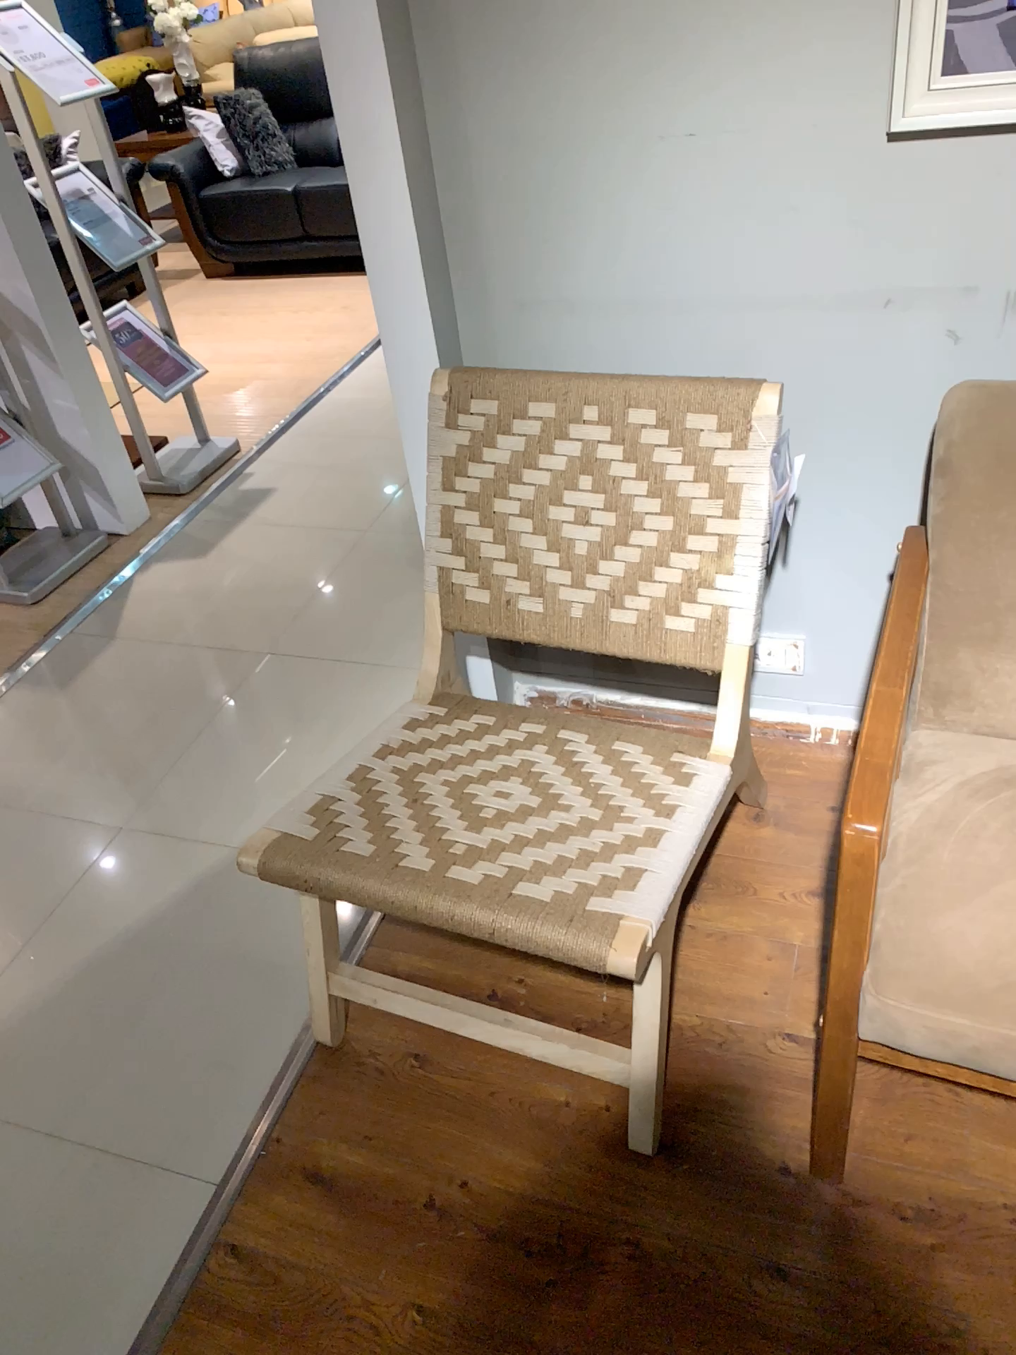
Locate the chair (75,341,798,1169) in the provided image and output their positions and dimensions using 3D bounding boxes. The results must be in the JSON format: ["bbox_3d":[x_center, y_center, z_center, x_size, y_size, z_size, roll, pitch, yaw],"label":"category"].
[{"bbox_3d":[0.009,0.066,1.459,0.631,0.846,0.662,9,40,23],"label":"chair"}]
